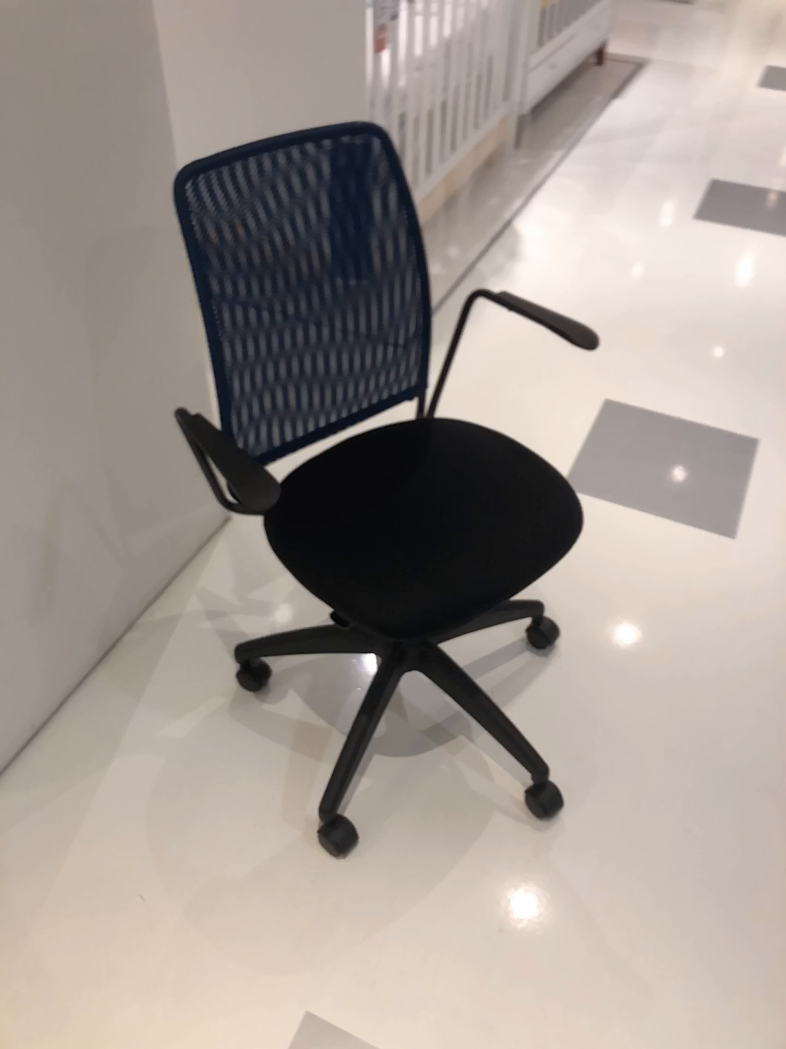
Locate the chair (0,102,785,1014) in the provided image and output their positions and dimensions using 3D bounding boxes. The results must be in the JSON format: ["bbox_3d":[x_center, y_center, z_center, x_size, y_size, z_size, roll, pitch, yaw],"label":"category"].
[{"bbox_3d":[-0.027,0.022,1.273,0.662,0.923,0.703,-26,49,-28],"label":"chair"}]
